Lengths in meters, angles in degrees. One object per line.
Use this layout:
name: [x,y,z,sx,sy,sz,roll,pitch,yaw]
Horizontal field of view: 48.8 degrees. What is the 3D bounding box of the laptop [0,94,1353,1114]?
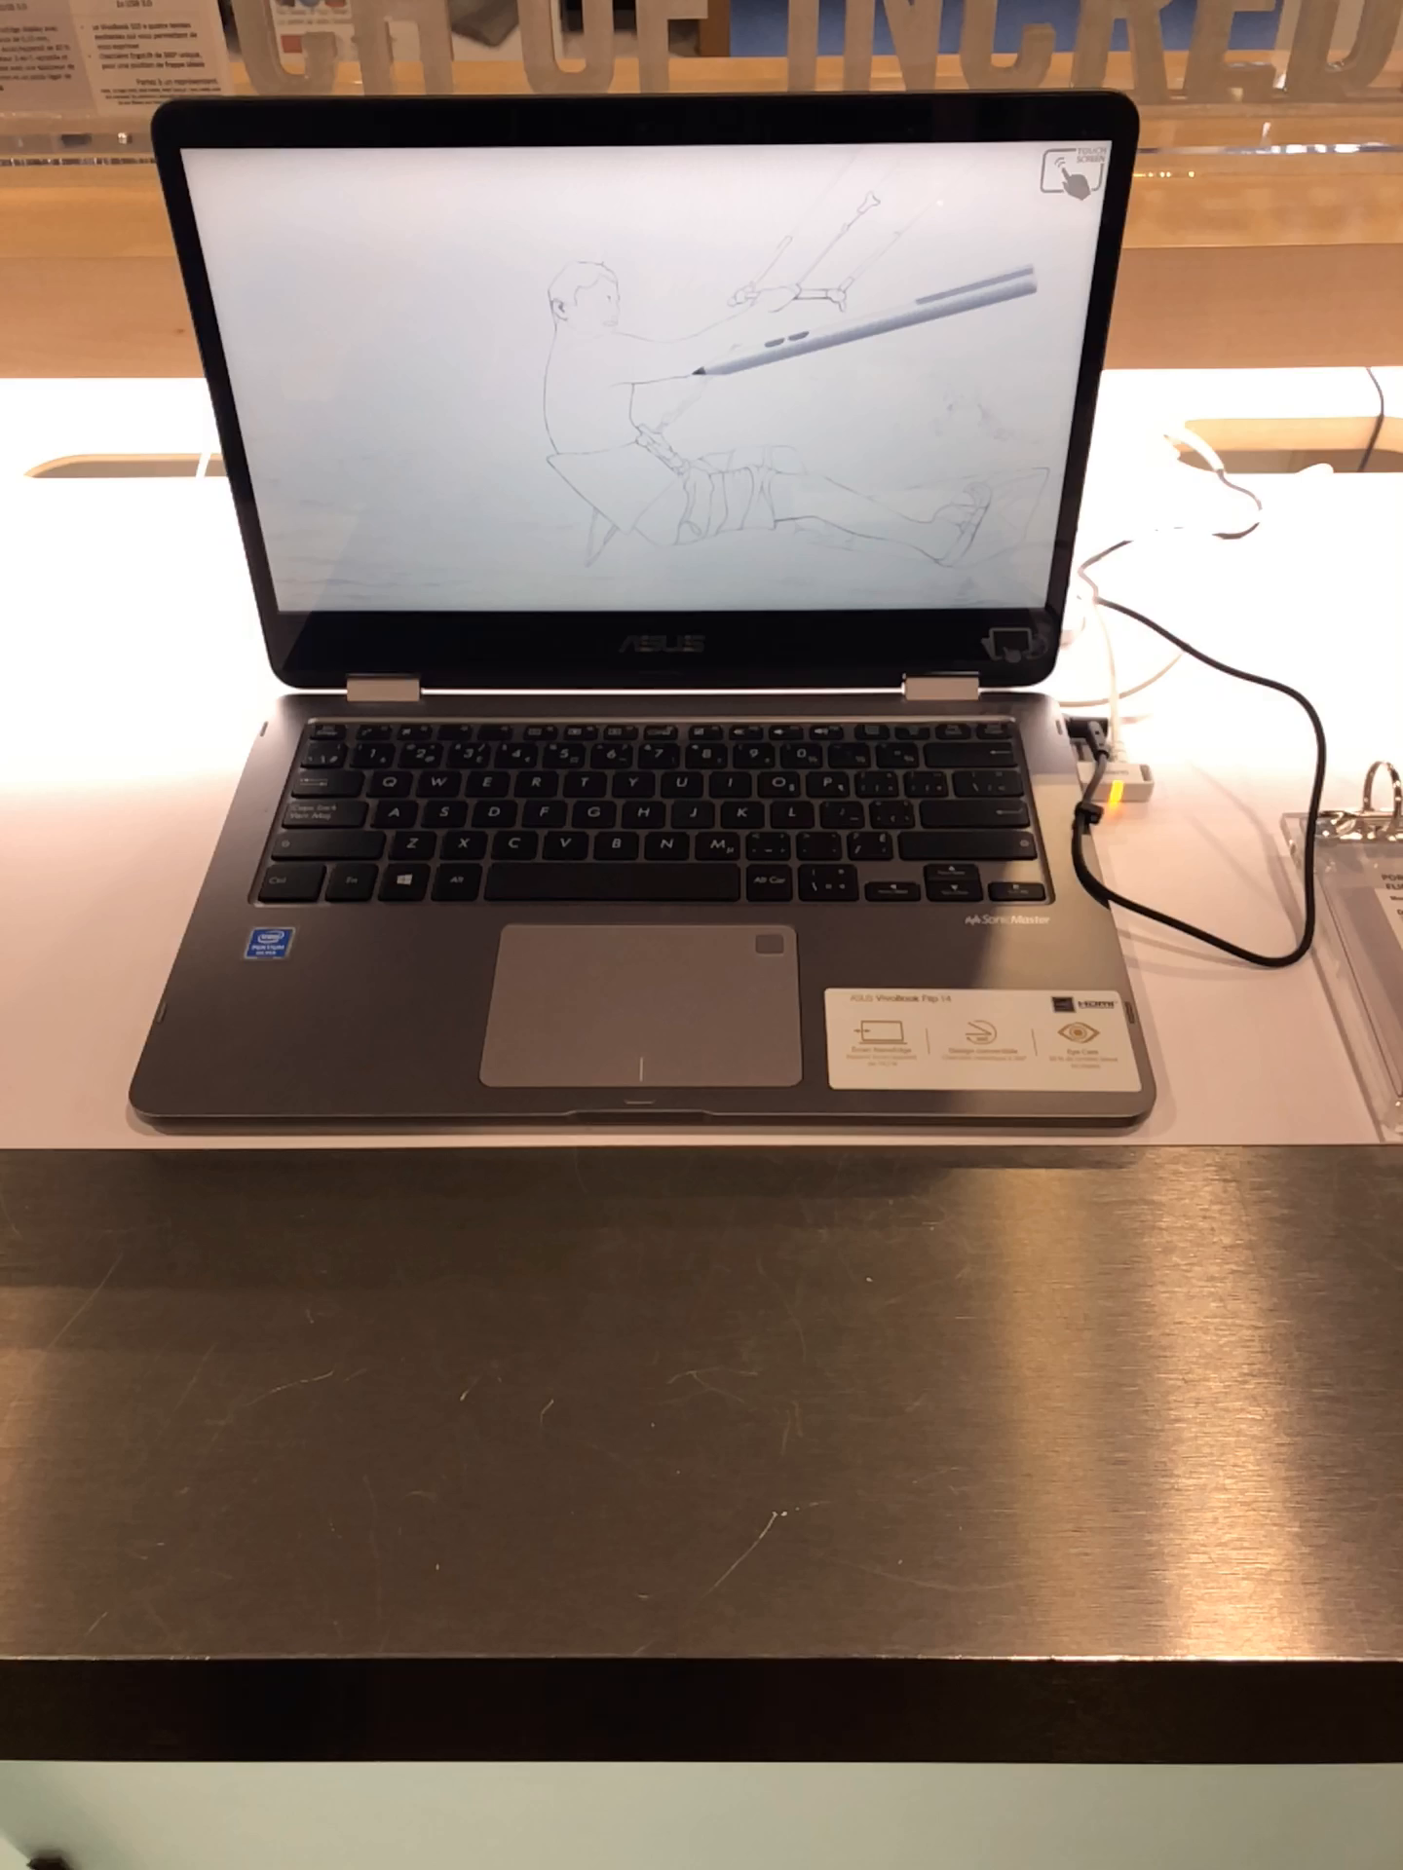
laptop: [-0.019,-0.098,0.458,0.303,0.211,0.211,0,45,2]
